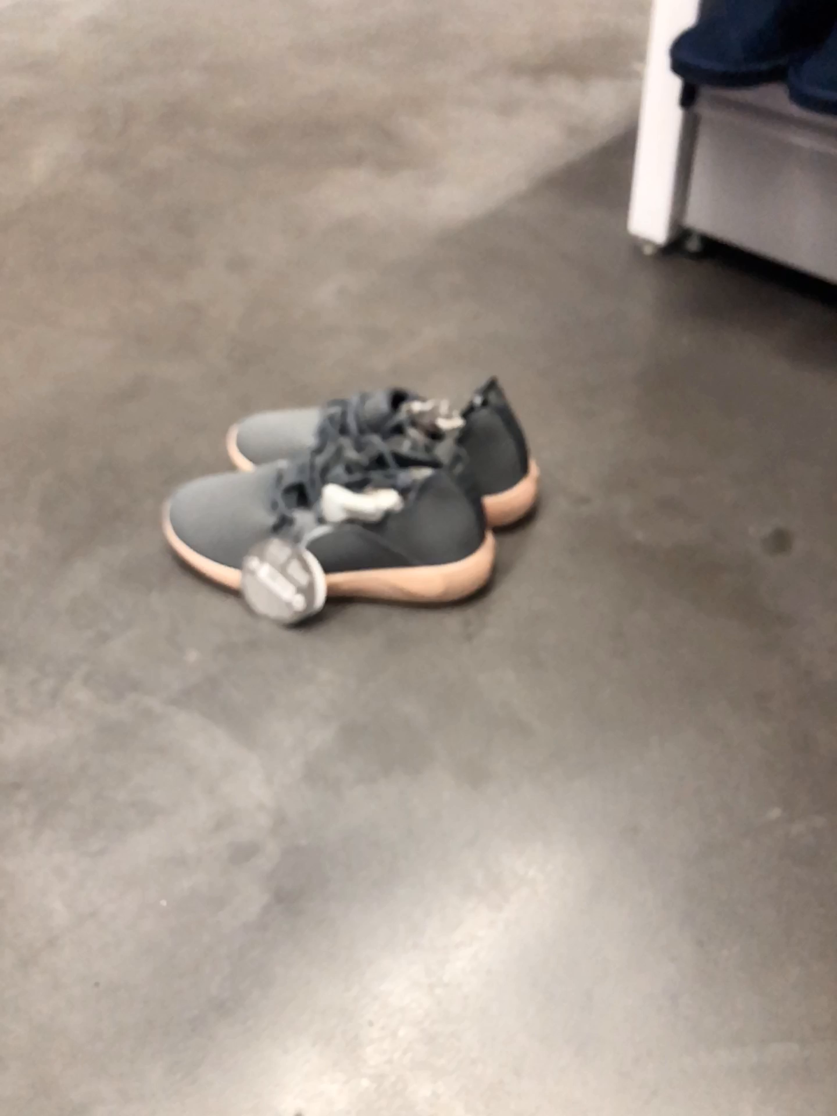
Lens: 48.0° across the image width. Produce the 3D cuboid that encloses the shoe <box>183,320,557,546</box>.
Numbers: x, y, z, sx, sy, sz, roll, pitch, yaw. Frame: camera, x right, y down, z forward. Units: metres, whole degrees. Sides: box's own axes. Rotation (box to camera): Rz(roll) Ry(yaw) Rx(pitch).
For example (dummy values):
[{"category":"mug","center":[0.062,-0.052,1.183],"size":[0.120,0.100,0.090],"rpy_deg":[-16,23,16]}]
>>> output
[{"category":"shoe","center":[-0.029,-0.092,0.677],"size":[0.240,0.099,0.091],"rpy_deg":[9,48,12]}]

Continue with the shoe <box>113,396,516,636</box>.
[{"category":"shoe","center":[-0.061,-0.030,0.630],"size":[0.240,0.099,0.091],"rpy_deg":[7,48,11]}]
